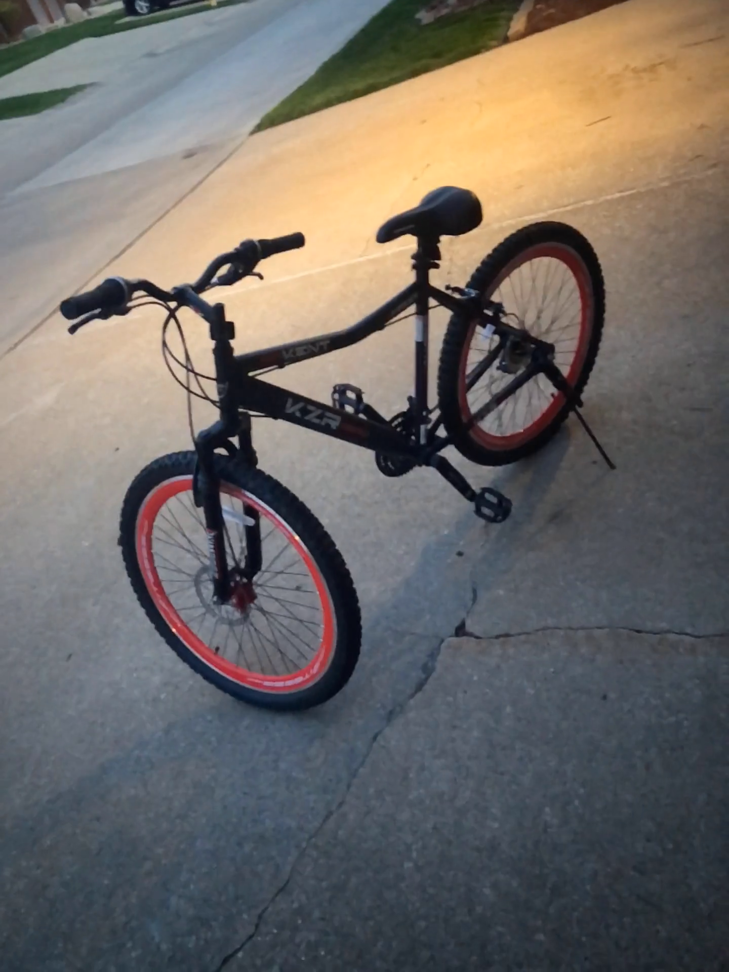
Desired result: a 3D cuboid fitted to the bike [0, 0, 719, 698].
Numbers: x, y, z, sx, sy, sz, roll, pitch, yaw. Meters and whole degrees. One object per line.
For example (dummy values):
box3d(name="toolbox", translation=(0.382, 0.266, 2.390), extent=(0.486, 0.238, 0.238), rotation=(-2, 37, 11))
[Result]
box3d(name="bike", translation=(0.005, -0.336, 1.920), extent=(1.423, 1.031, 0.601), rotation=(-31, 36, -15))
